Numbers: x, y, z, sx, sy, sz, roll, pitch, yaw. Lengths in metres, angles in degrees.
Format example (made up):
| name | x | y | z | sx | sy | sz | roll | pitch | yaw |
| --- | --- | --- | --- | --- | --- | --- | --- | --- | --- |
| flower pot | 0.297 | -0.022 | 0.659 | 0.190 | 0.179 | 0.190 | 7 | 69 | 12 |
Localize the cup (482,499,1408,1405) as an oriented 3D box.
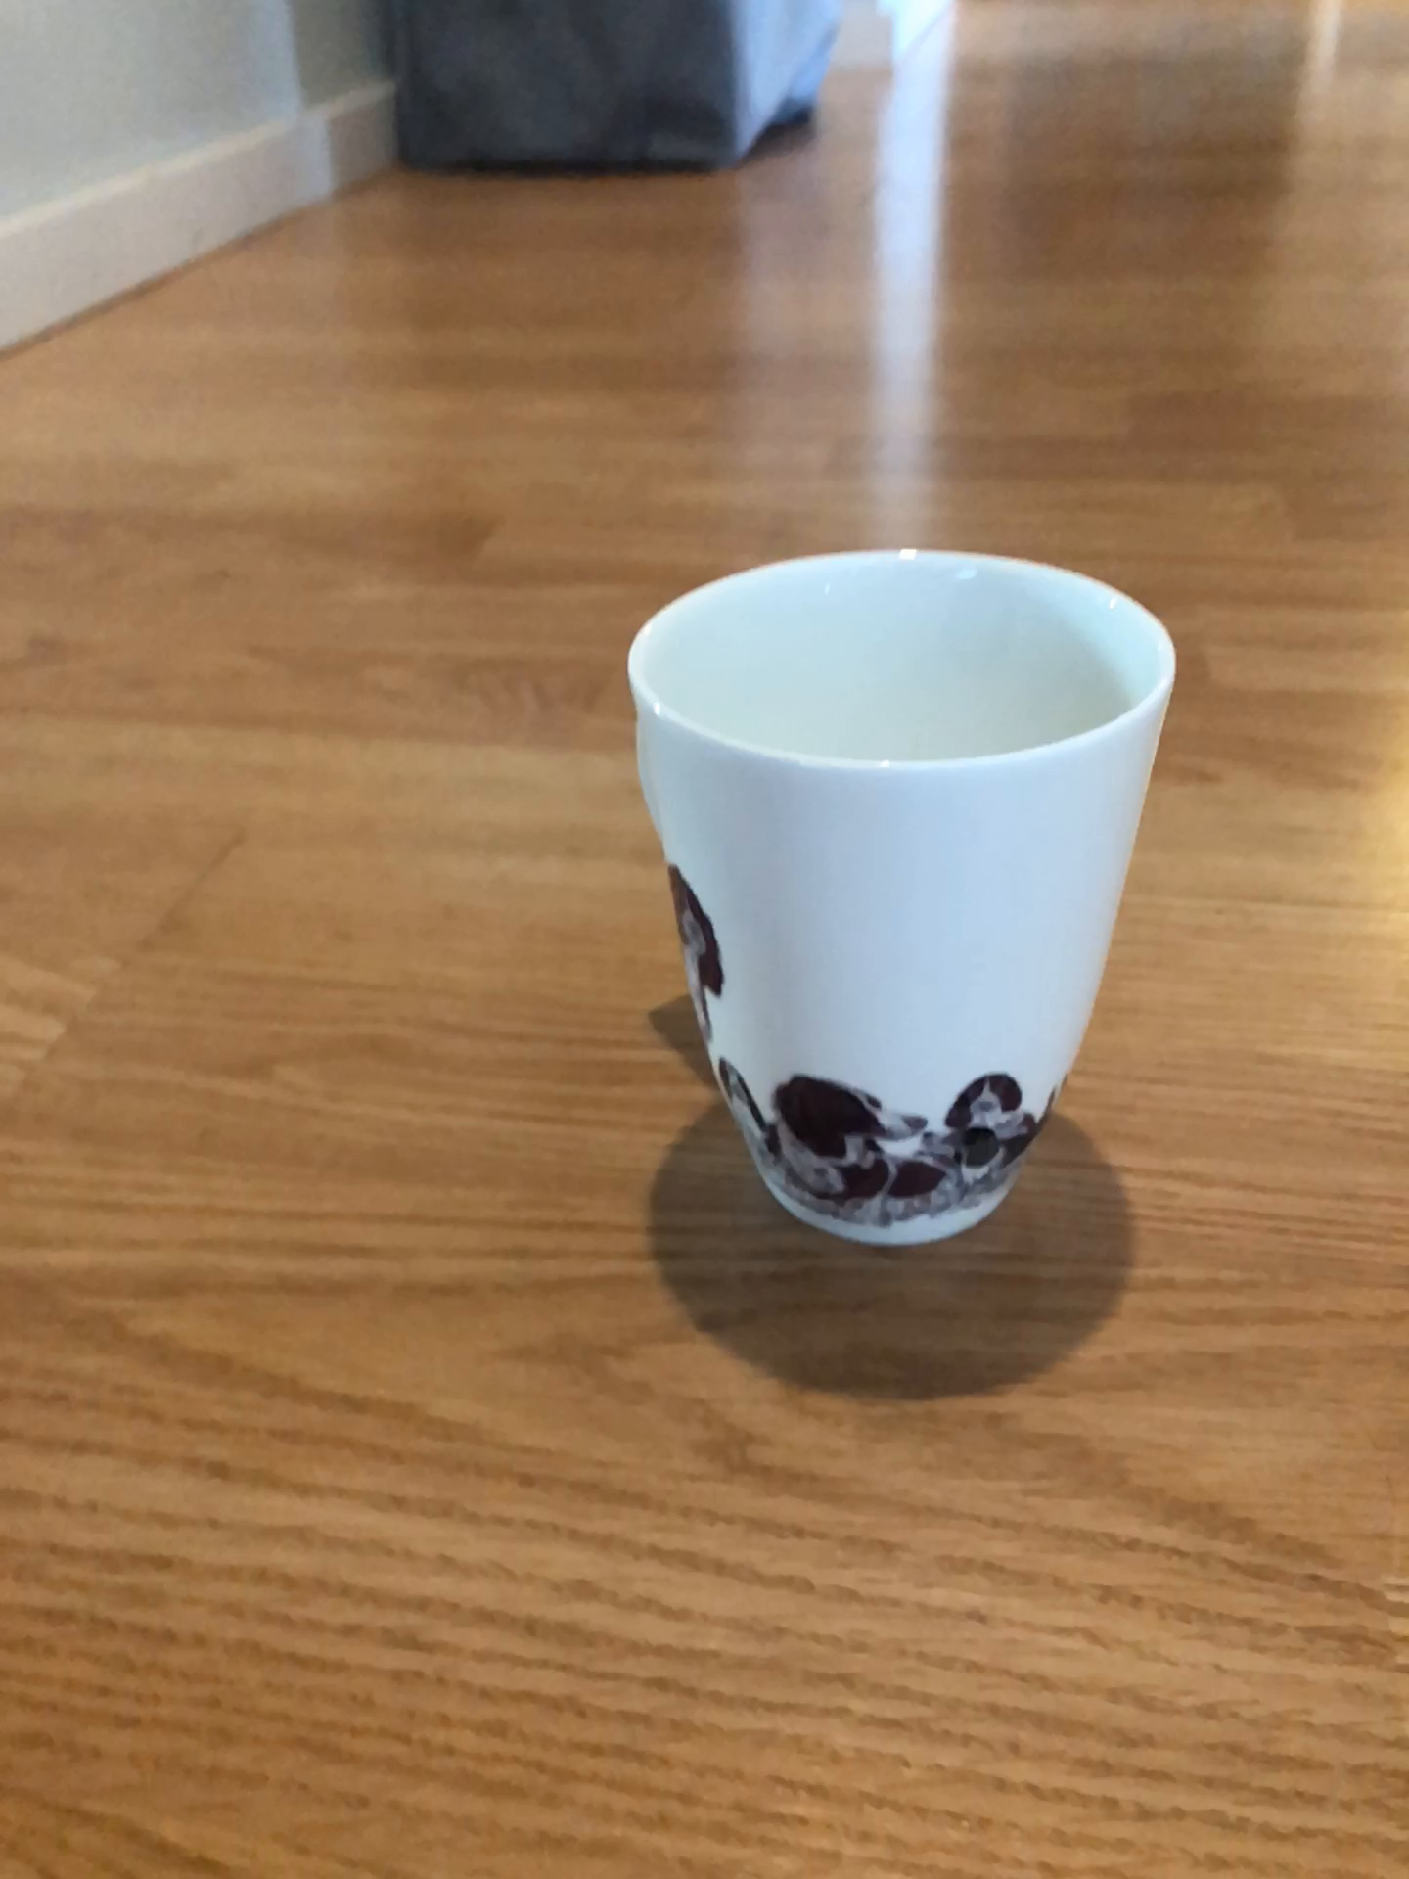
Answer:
| name | x | y | z | sx | sy | sz | roll | pitch | yaw |
| --- | --- | --- | --- | --- | --- | --- | --- | --- | --- |
| cup | 0.034 | -0.009 | 0.276 | 0.090 | 0.090 | 0.120 | -22 | 38 | -26 |
